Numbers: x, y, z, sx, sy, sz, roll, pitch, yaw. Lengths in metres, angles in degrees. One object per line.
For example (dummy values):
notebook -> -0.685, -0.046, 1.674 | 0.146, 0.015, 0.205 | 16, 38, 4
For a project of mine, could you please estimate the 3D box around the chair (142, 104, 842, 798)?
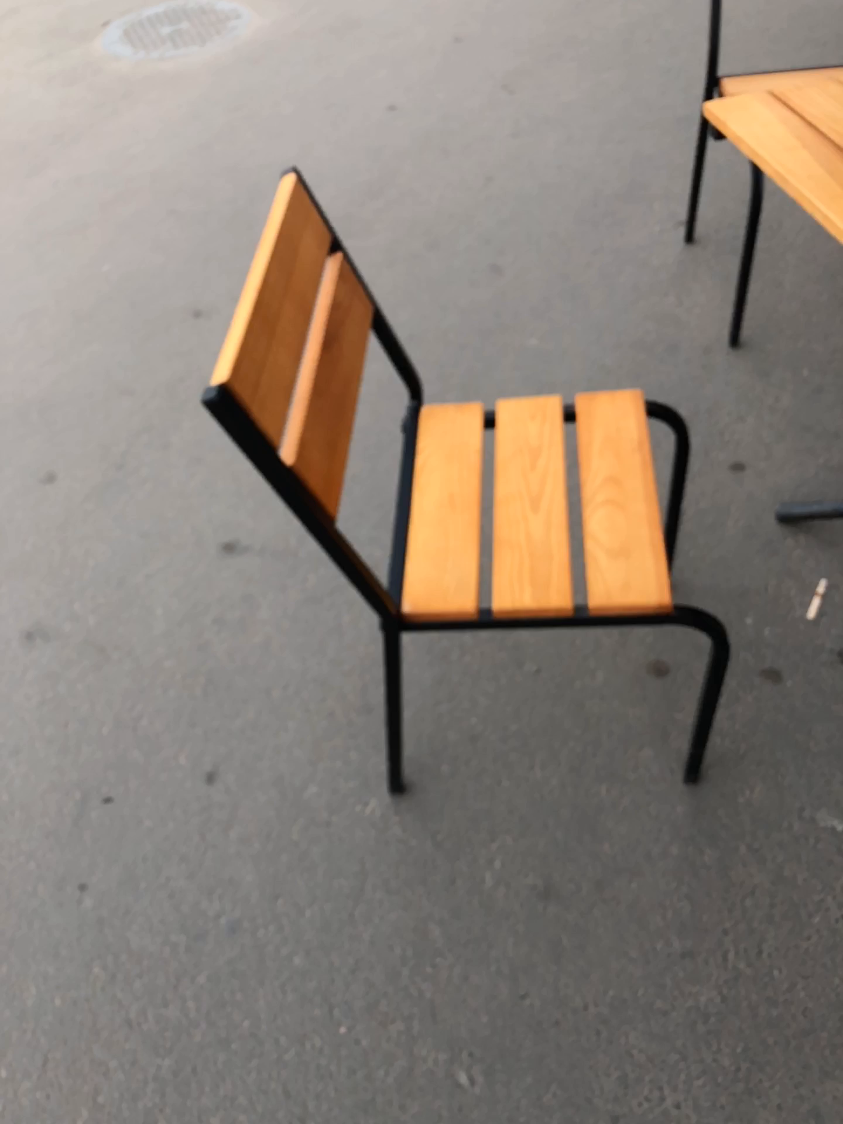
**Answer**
chair -> 0.098, -0.102, 1.133 | 0.550, 0.638, 0.492 | 0, 48, 8
